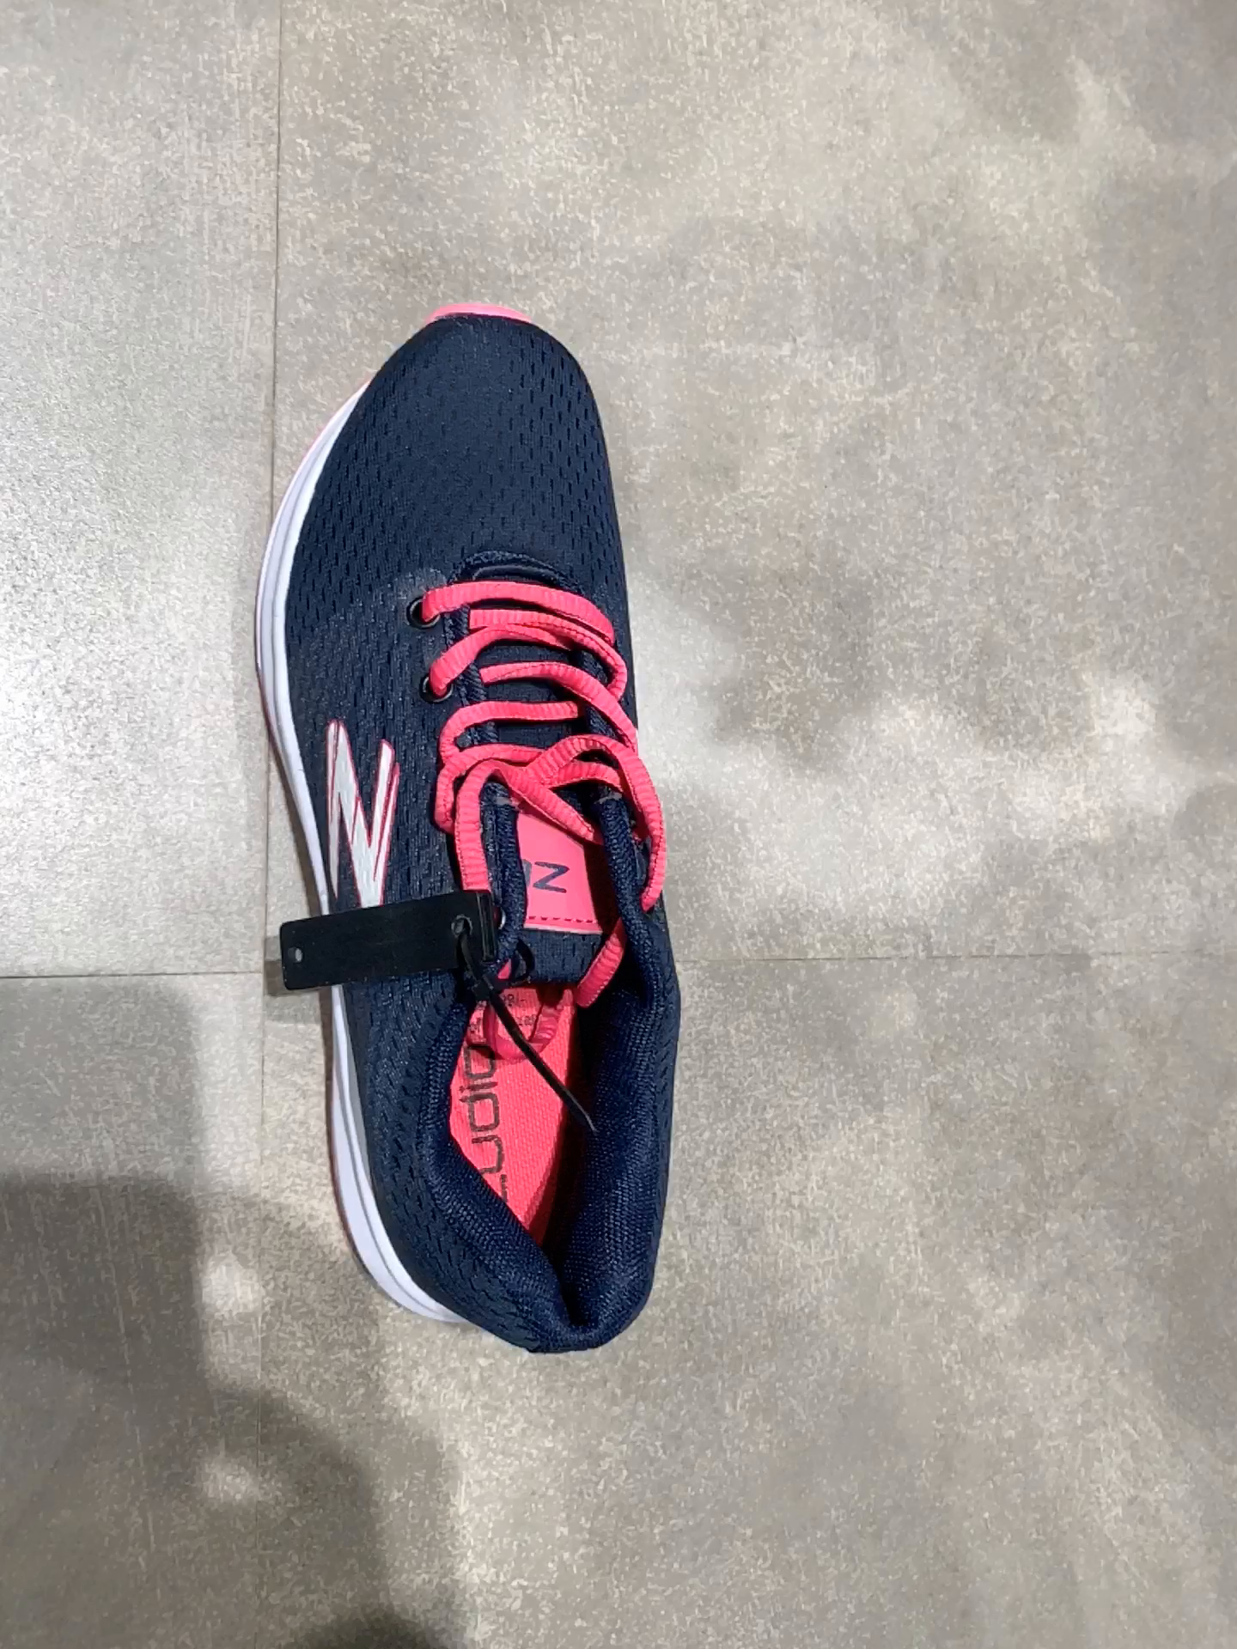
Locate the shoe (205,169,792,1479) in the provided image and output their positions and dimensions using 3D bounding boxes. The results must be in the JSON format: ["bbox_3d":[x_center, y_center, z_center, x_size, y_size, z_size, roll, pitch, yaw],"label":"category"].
[{"bbox_3d":[-0.034,-0.002,0.301,0.095,0.090,0.248,-4,88,-24],"label":"shoe"}]
